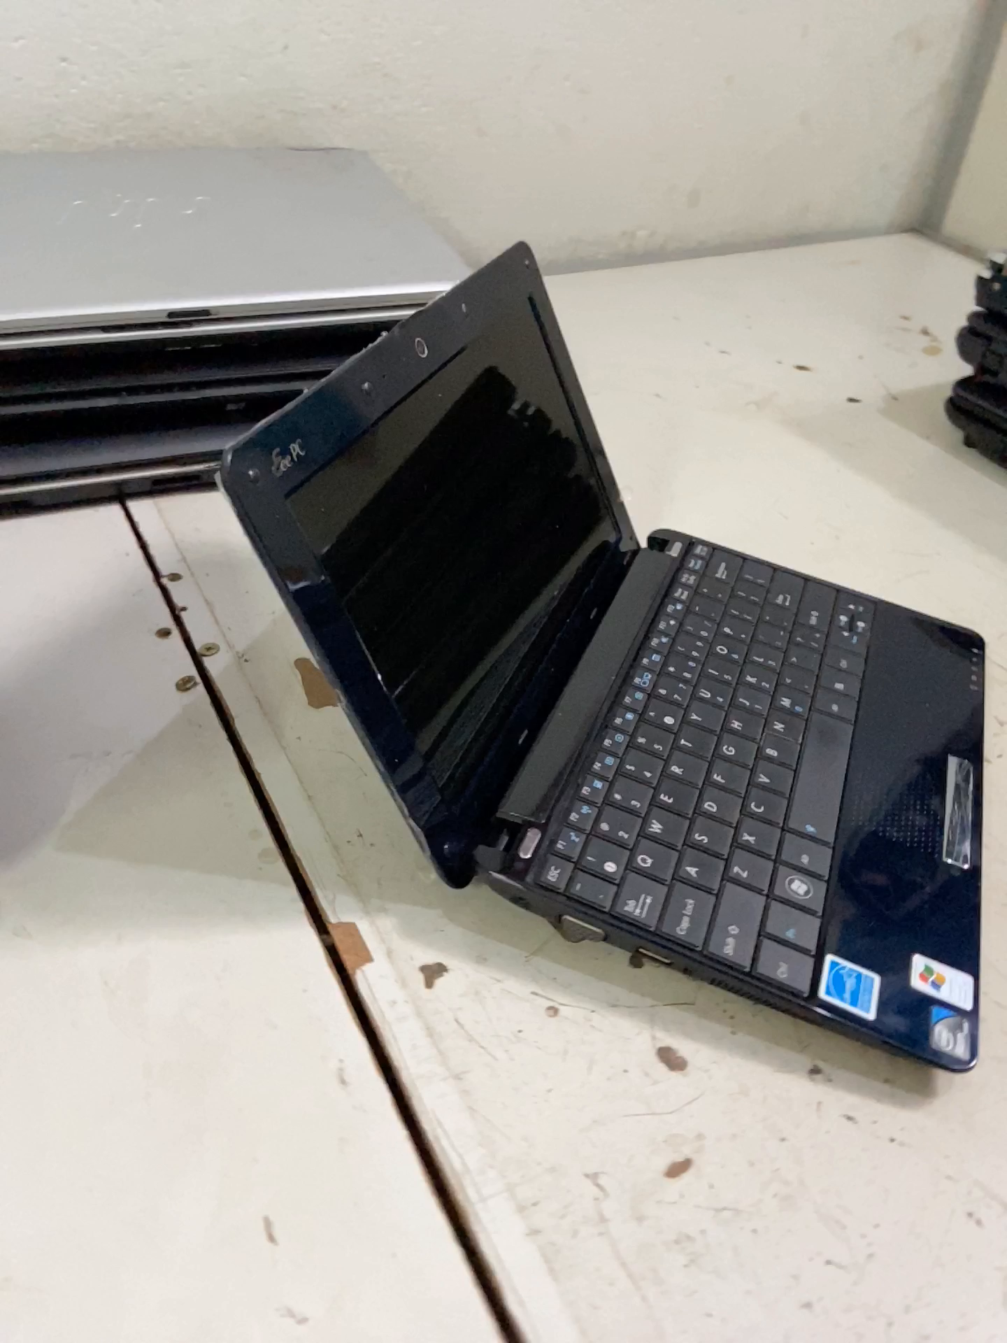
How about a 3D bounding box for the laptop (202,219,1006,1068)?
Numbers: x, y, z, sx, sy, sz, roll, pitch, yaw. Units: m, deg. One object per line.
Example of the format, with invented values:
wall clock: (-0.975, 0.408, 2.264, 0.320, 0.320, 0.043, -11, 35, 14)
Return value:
laptop: (0.077, -0.046, 0.419, 0.273, 0.133, 0.261, 20, 41, 12)
